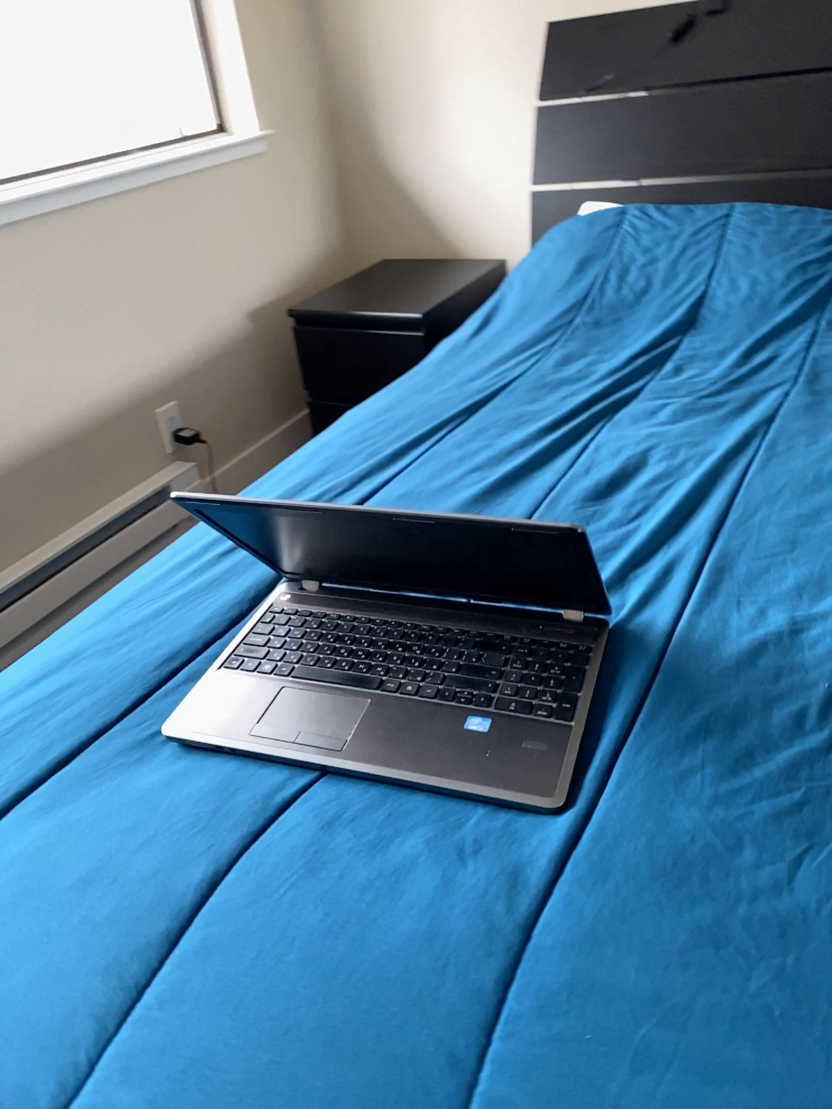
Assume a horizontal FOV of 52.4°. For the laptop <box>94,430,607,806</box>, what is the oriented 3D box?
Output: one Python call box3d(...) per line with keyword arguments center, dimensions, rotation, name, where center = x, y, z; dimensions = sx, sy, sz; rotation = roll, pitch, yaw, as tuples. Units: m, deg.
box3d(center=(-0.033, 0.031, 0.768), dimensions=(0.369, 0.192, 0.256), rotation=(5, 32, 20), name="laptop")
